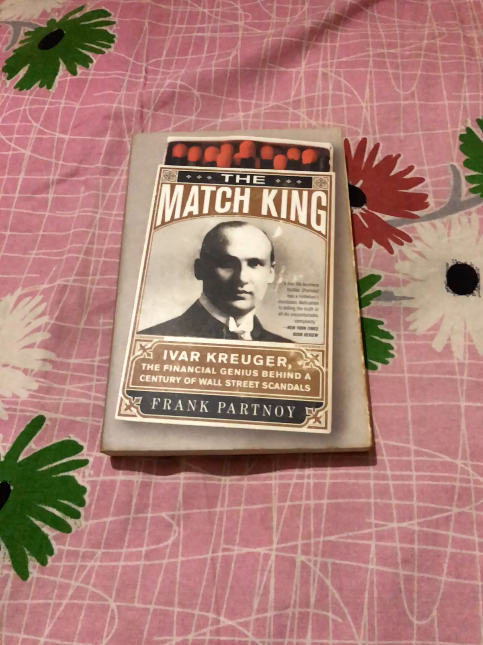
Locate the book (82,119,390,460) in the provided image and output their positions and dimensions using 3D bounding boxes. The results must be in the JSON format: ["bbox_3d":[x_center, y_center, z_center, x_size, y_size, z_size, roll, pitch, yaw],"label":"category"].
[{"bbox_3d":[-0.004,-0.035,0.351,0.160,0.030,0.240,-1,61,1],"label":"book"}]
